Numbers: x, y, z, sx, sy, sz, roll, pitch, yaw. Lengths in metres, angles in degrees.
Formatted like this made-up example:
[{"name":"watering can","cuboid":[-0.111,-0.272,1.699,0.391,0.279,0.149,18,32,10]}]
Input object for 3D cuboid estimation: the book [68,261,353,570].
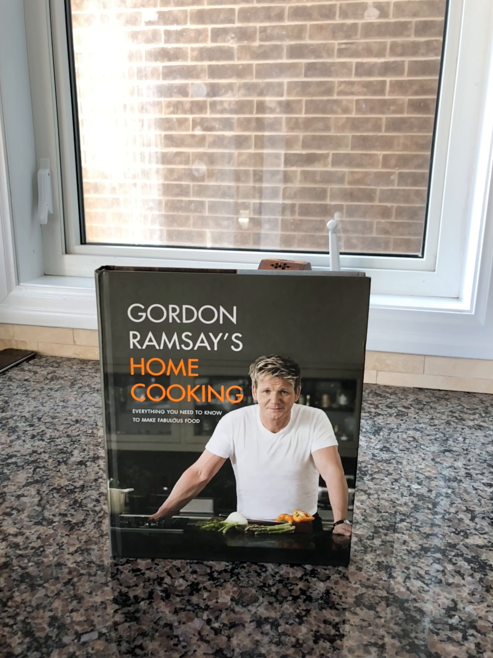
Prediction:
[{"name":"book","cuboid":[-0.030,0.078,0.461,0.217,0.261,0.028,1,15,2]}]
